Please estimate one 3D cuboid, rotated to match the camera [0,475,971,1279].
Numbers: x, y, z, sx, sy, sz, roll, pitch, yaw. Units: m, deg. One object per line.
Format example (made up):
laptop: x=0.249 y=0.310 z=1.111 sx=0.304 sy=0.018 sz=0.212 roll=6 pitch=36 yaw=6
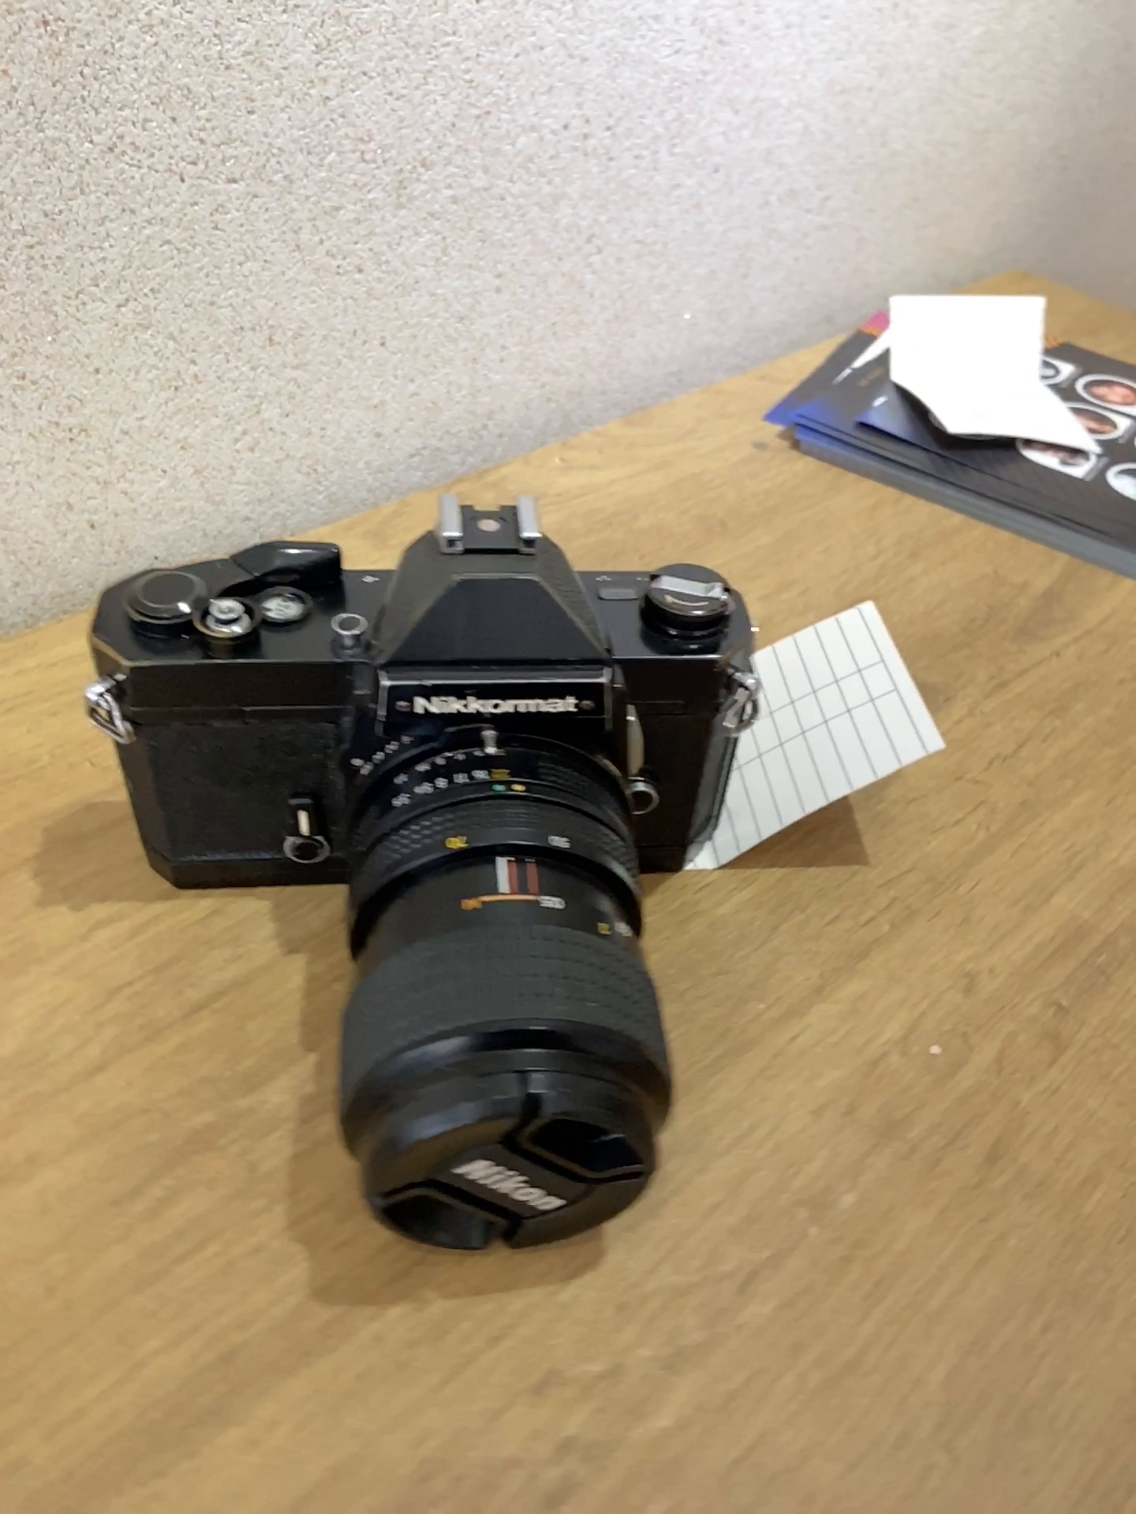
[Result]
camera: x=-0.027 y=0.018 z=0.248 sx=0.160 sy=0.089 sz=0.141 roll=1 pitch=42 yaw=-4
